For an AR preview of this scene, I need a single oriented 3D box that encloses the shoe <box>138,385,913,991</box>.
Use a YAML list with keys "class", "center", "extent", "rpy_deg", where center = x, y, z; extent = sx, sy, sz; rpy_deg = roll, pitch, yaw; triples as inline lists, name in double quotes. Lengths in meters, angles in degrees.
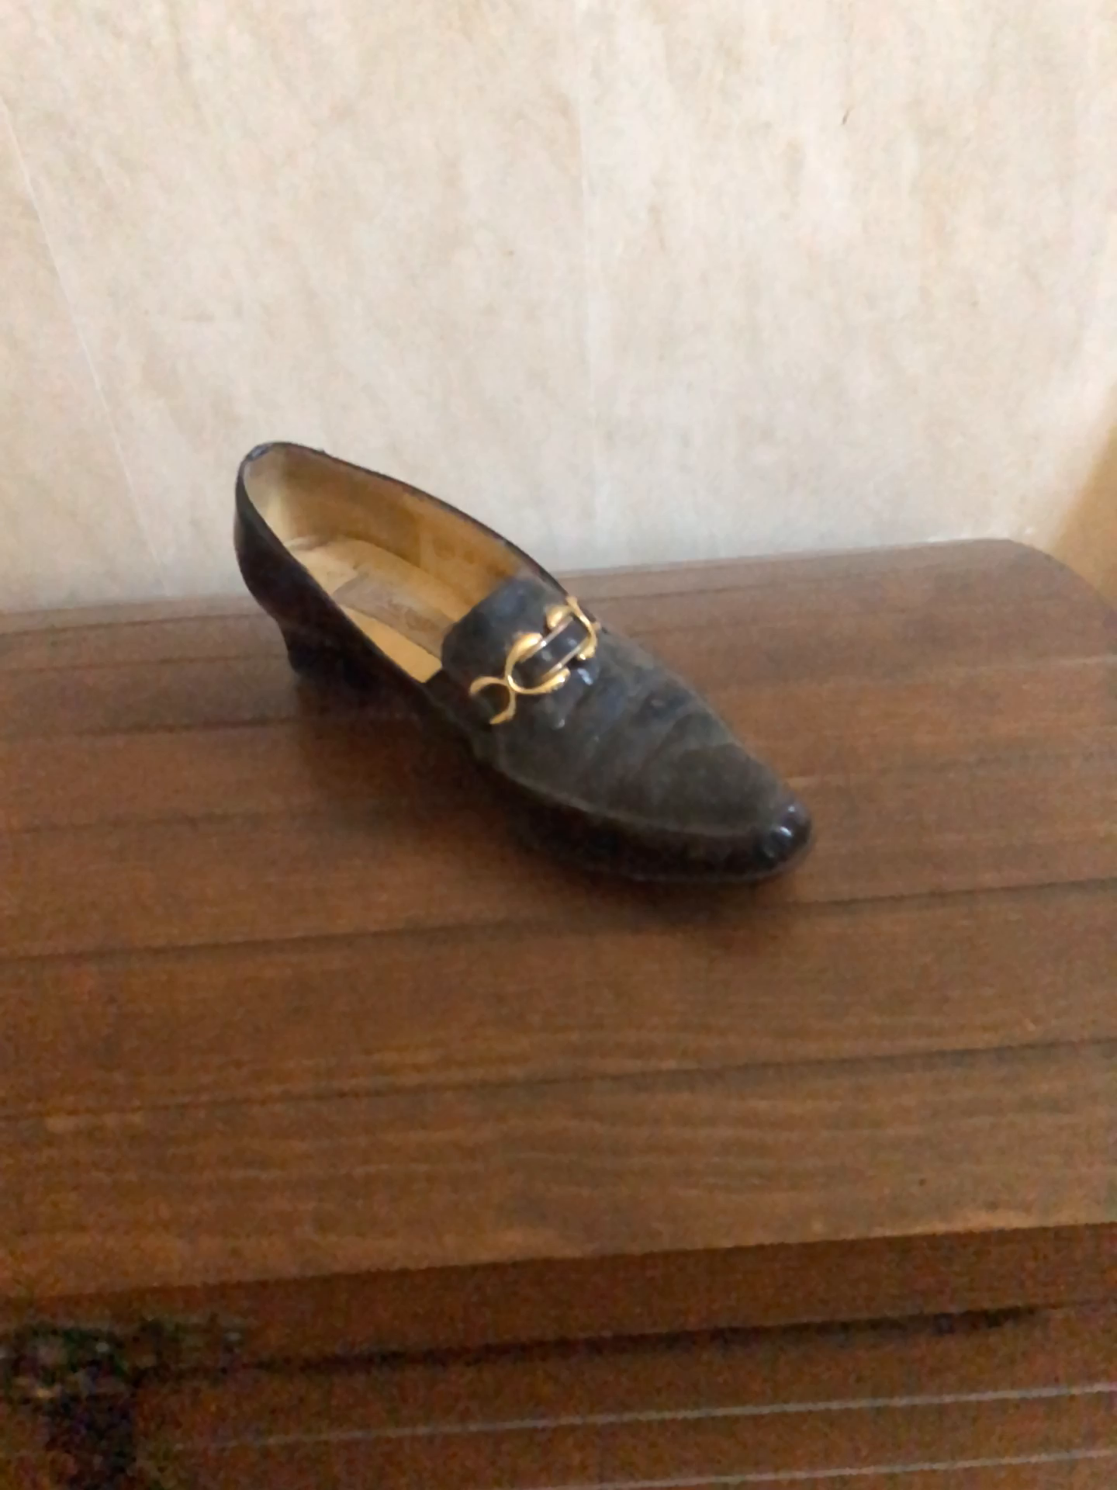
- class: "shoe"
  center: [-0.017, -0.031, 0.423]
  extent: [0.240, 0.099, 0.090]
  rpy_deg: [24, 50, 27]
